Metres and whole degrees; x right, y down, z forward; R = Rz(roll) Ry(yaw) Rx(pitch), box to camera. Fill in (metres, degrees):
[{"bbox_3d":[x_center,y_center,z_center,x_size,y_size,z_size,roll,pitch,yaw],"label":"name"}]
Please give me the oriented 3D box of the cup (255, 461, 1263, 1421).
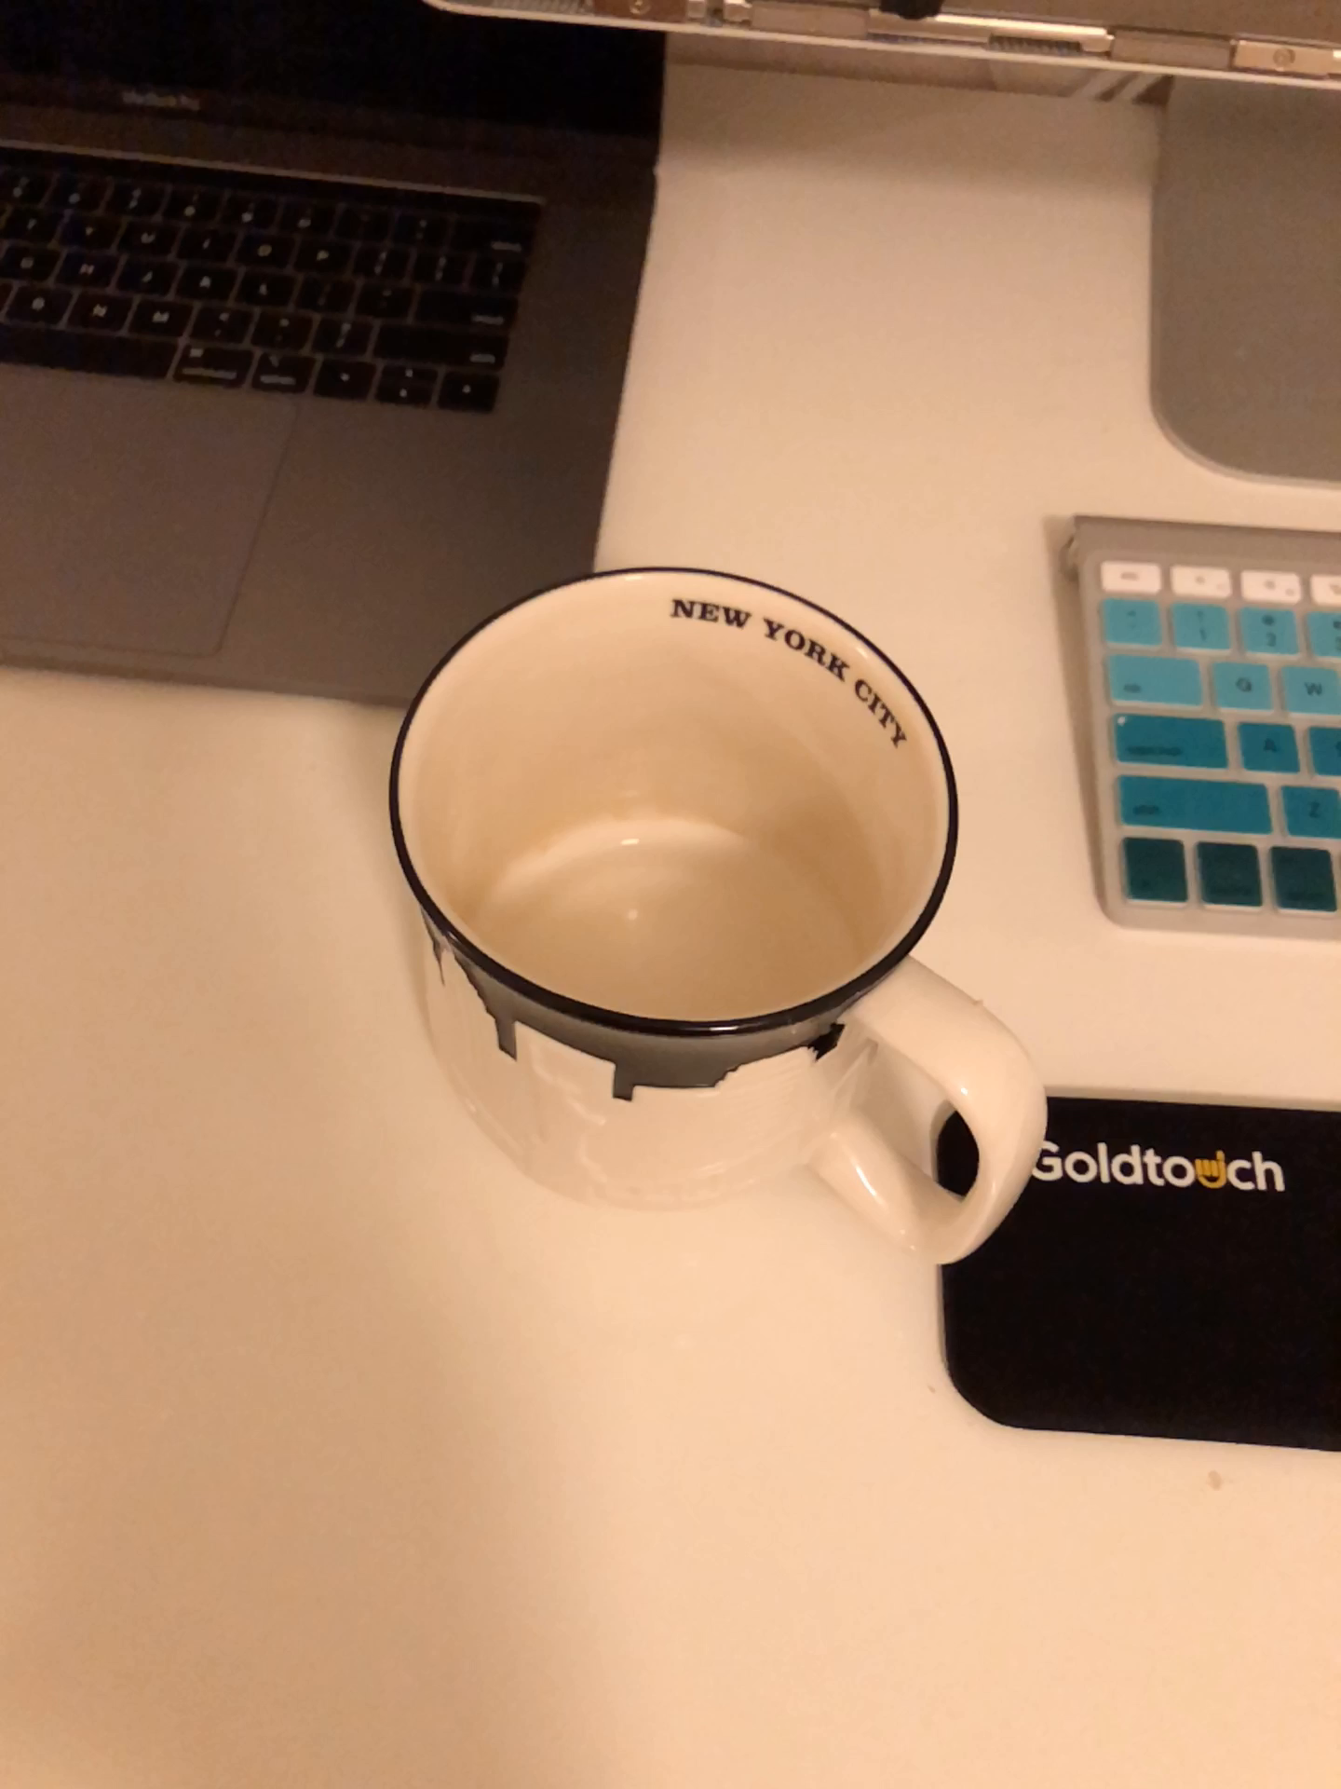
[{"bbox_3d":[0.016,0.008,0.299,0.140,0.090,0.110,31,62,14],"label":"cup"}]
